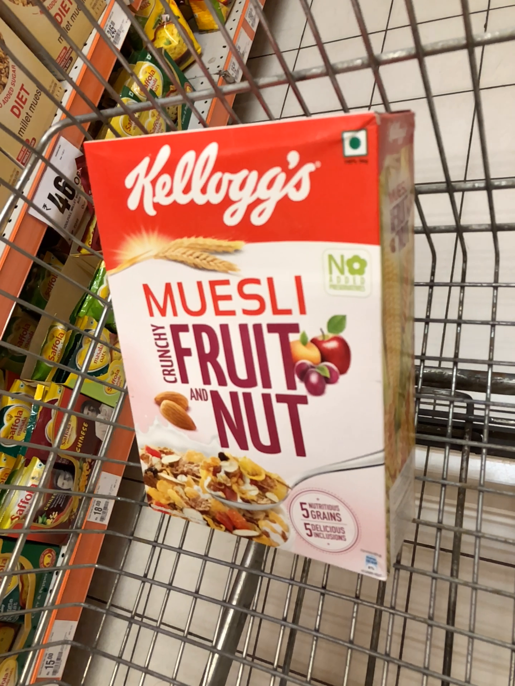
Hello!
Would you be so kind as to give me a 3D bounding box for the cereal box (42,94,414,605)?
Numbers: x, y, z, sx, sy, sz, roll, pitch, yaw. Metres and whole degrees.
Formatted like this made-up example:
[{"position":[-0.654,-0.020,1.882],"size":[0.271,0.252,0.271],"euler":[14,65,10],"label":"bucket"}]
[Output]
[{"position":[-0.009,0.003,0.349],"size":[0.191,0.070,0.269],"euler":[7,115,29],"label":"cereal box"}]
